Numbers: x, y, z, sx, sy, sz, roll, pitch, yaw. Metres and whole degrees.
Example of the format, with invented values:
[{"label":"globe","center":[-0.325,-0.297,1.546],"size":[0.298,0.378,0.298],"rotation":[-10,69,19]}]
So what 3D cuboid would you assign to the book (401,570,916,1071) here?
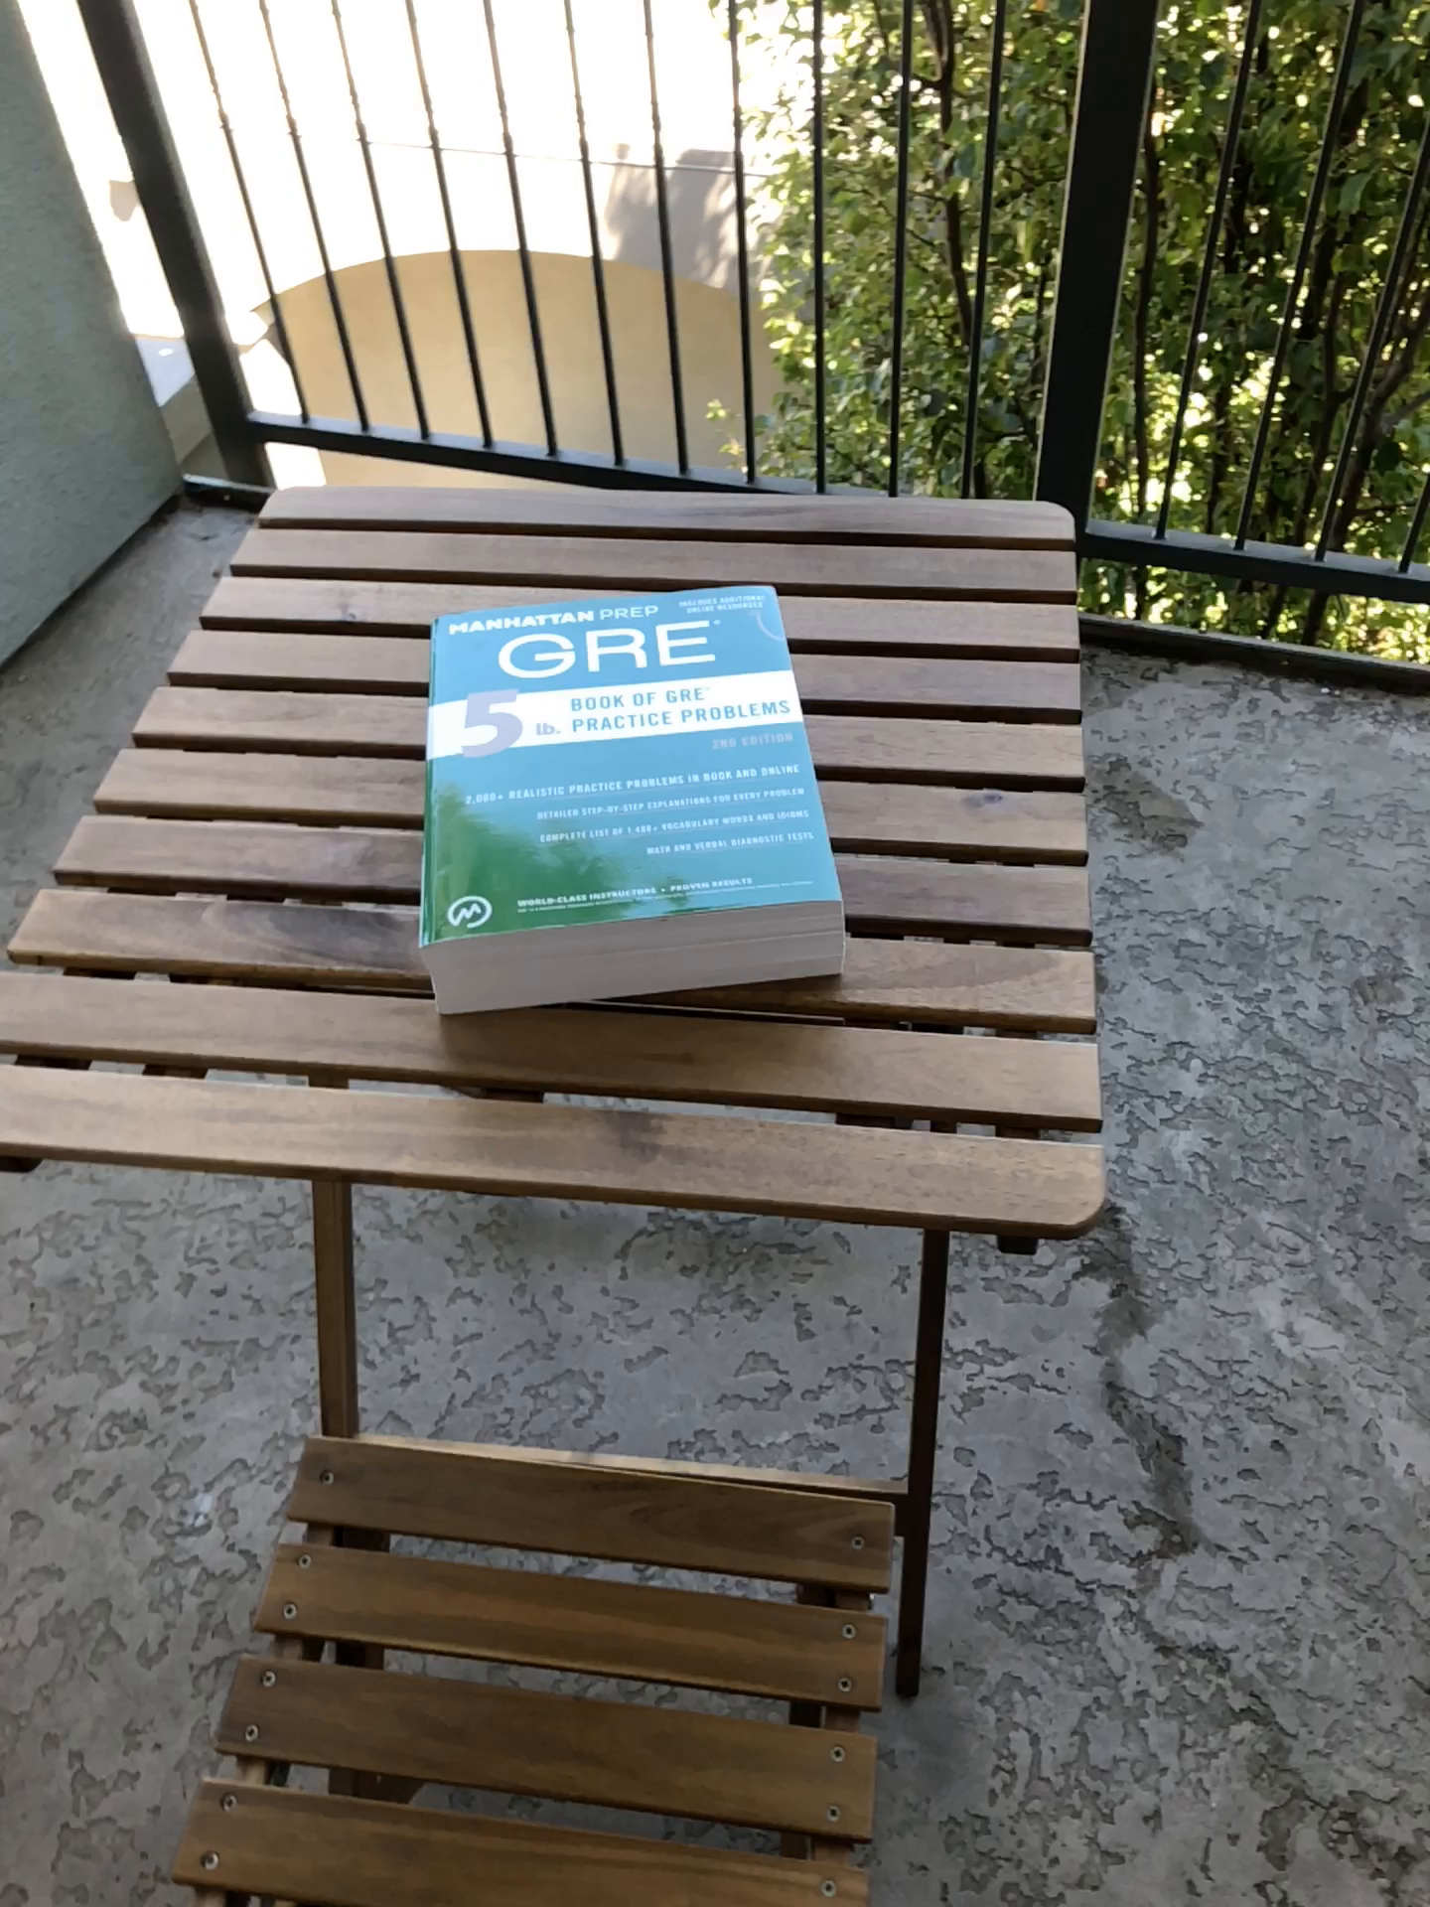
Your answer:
[{"label":"book","center":[-0.042,-0.088,0.891],"size":[0.250,0.060,0.311],"rotation":[-7,48,-2]}]
